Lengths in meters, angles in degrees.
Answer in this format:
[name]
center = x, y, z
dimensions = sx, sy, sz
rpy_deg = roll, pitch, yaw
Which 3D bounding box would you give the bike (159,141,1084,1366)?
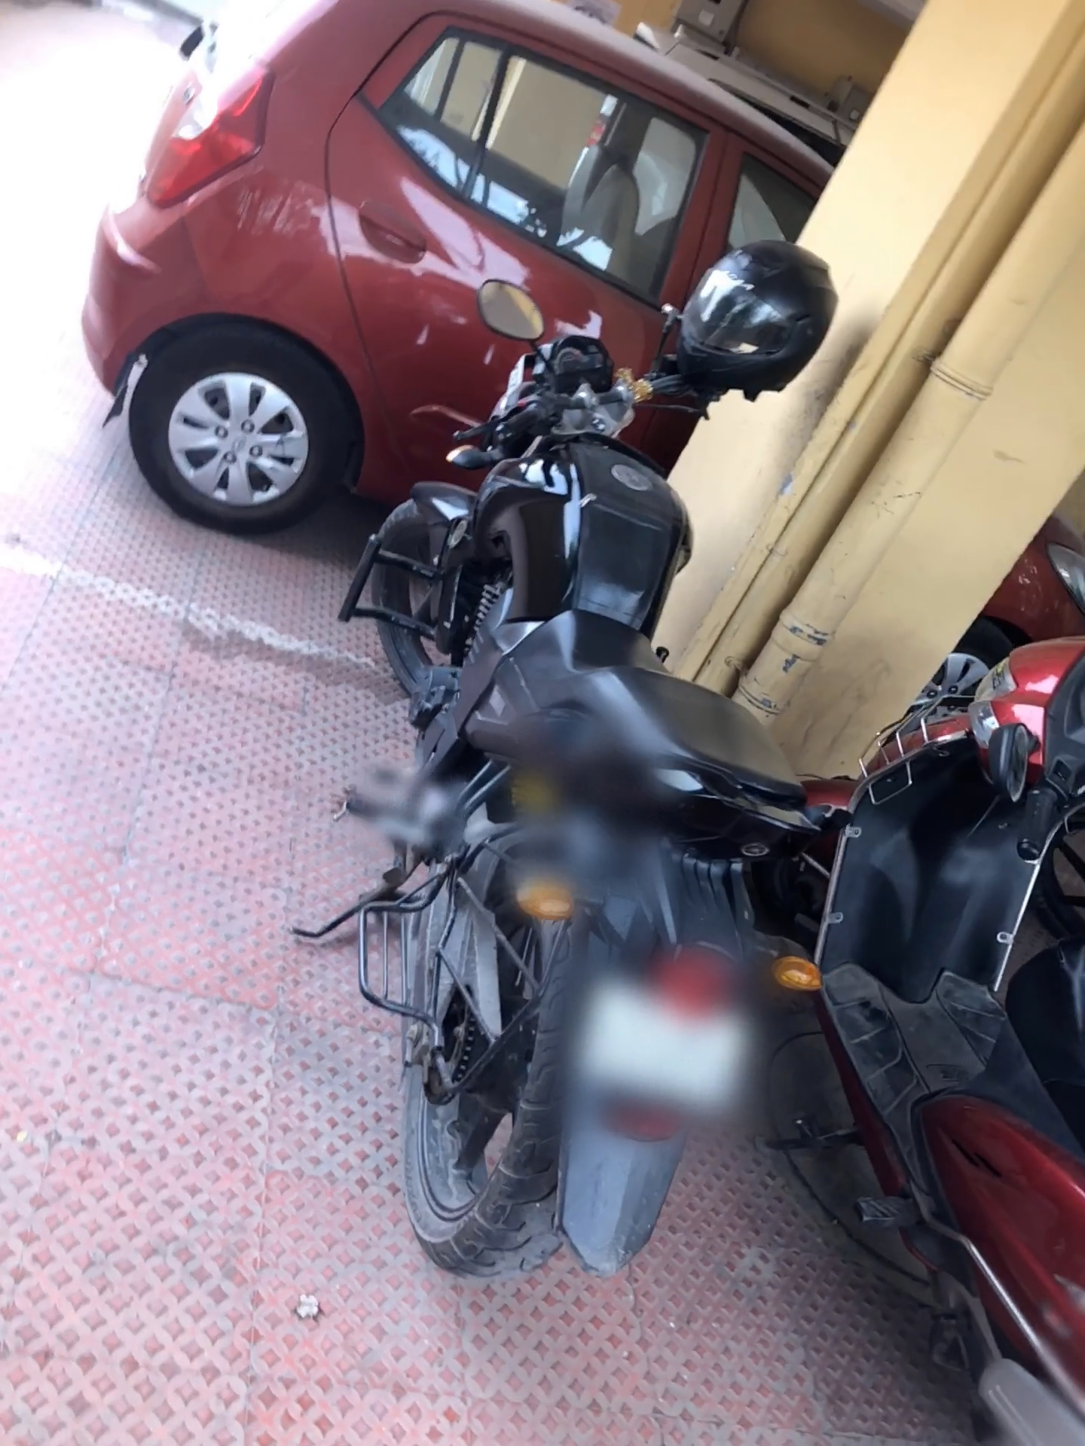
[bike]
center = -0.095, -0.129, 1.993
dimensions = 0.740, 1.026, 1.788
rpy_deg = 15, 30, -24
